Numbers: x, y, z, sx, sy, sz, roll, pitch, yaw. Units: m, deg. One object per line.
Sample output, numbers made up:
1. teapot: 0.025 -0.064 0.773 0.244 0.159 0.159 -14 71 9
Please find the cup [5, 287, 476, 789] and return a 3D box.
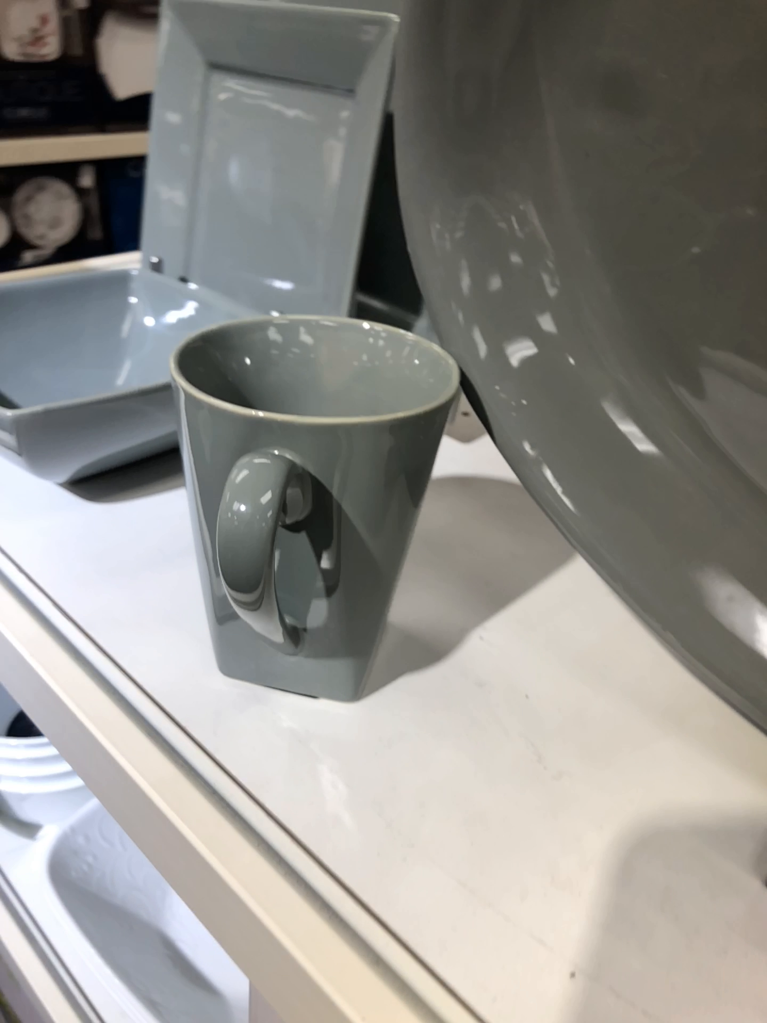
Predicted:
1. cup: -0.033 -0.001 0.273 0.100 0.097 0.118 9 31 8
